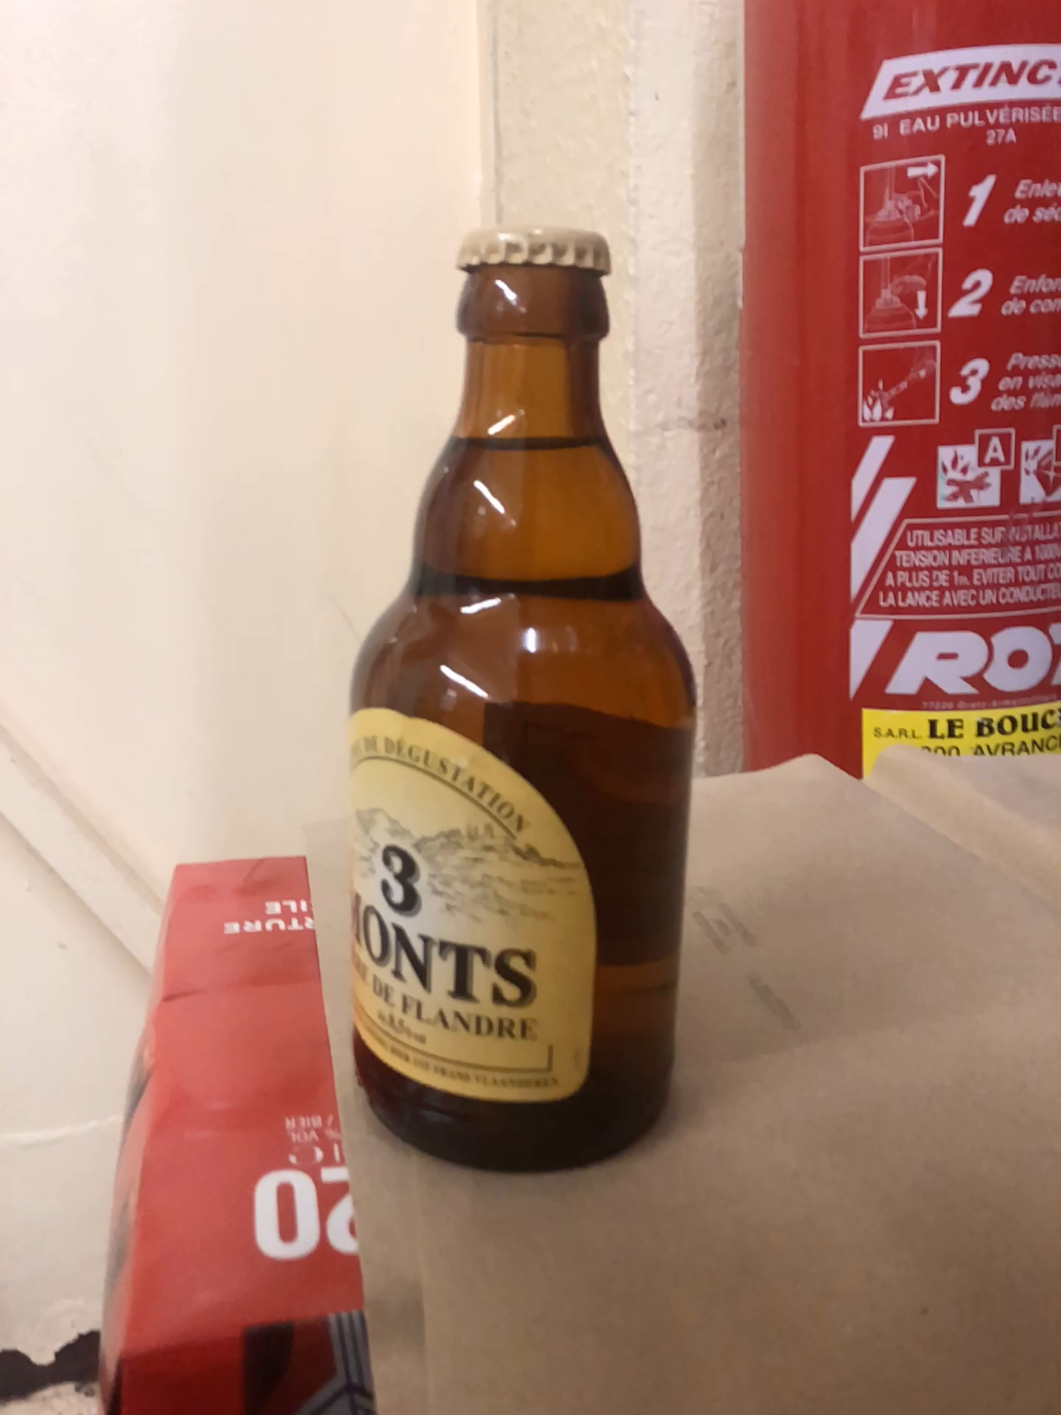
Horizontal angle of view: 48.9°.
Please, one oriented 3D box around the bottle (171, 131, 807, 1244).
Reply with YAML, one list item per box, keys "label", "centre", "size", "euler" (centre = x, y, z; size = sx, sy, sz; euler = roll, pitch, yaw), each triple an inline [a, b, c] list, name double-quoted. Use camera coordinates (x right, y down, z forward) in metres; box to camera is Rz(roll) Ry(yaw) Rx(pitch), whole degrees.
- label: "bottle"
  centre: [-0.006, -0.007, 0.226]
  size: [0.080, 0.166, 0.080]
  euler: [0, 13, 0]
